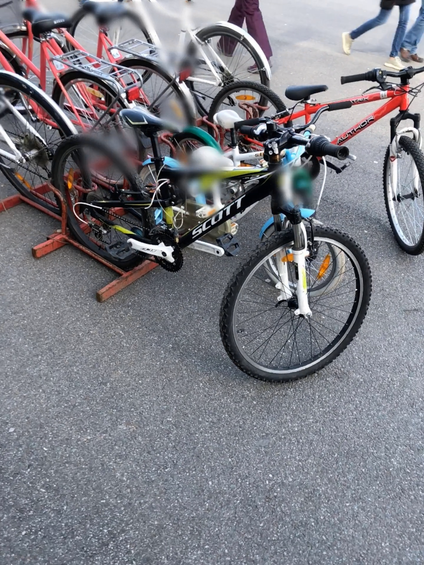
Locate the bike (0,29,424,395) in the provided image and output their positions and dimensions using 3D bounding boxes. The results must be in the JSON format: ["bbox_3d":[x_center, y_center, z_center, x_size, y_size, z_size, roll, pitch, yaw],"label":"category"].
[{"bbox_3d":[-0.065,-0.309,1.721,1.374,0.901,0.530,22,39,18],"label":"bike"}]
